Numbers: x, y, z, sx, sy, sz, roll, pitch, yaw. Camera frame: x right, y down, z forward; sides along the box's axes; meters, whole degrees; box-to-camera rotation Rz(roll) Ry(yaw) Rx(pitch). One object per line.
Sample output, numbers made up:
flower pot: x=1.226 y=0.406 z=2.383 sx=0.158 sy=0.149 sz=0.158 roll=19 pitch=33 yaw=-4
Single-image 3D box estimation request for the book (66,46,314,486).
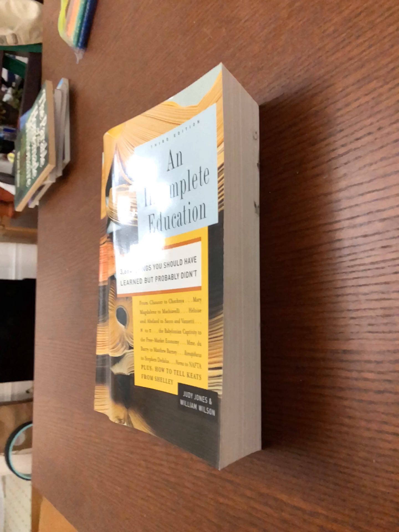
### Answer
book: x=-0.025 y=0.005 z=0.345 sx=0.211 sy=0.060 sz=0.250 roll=-9 pitch=79 yaw=46
